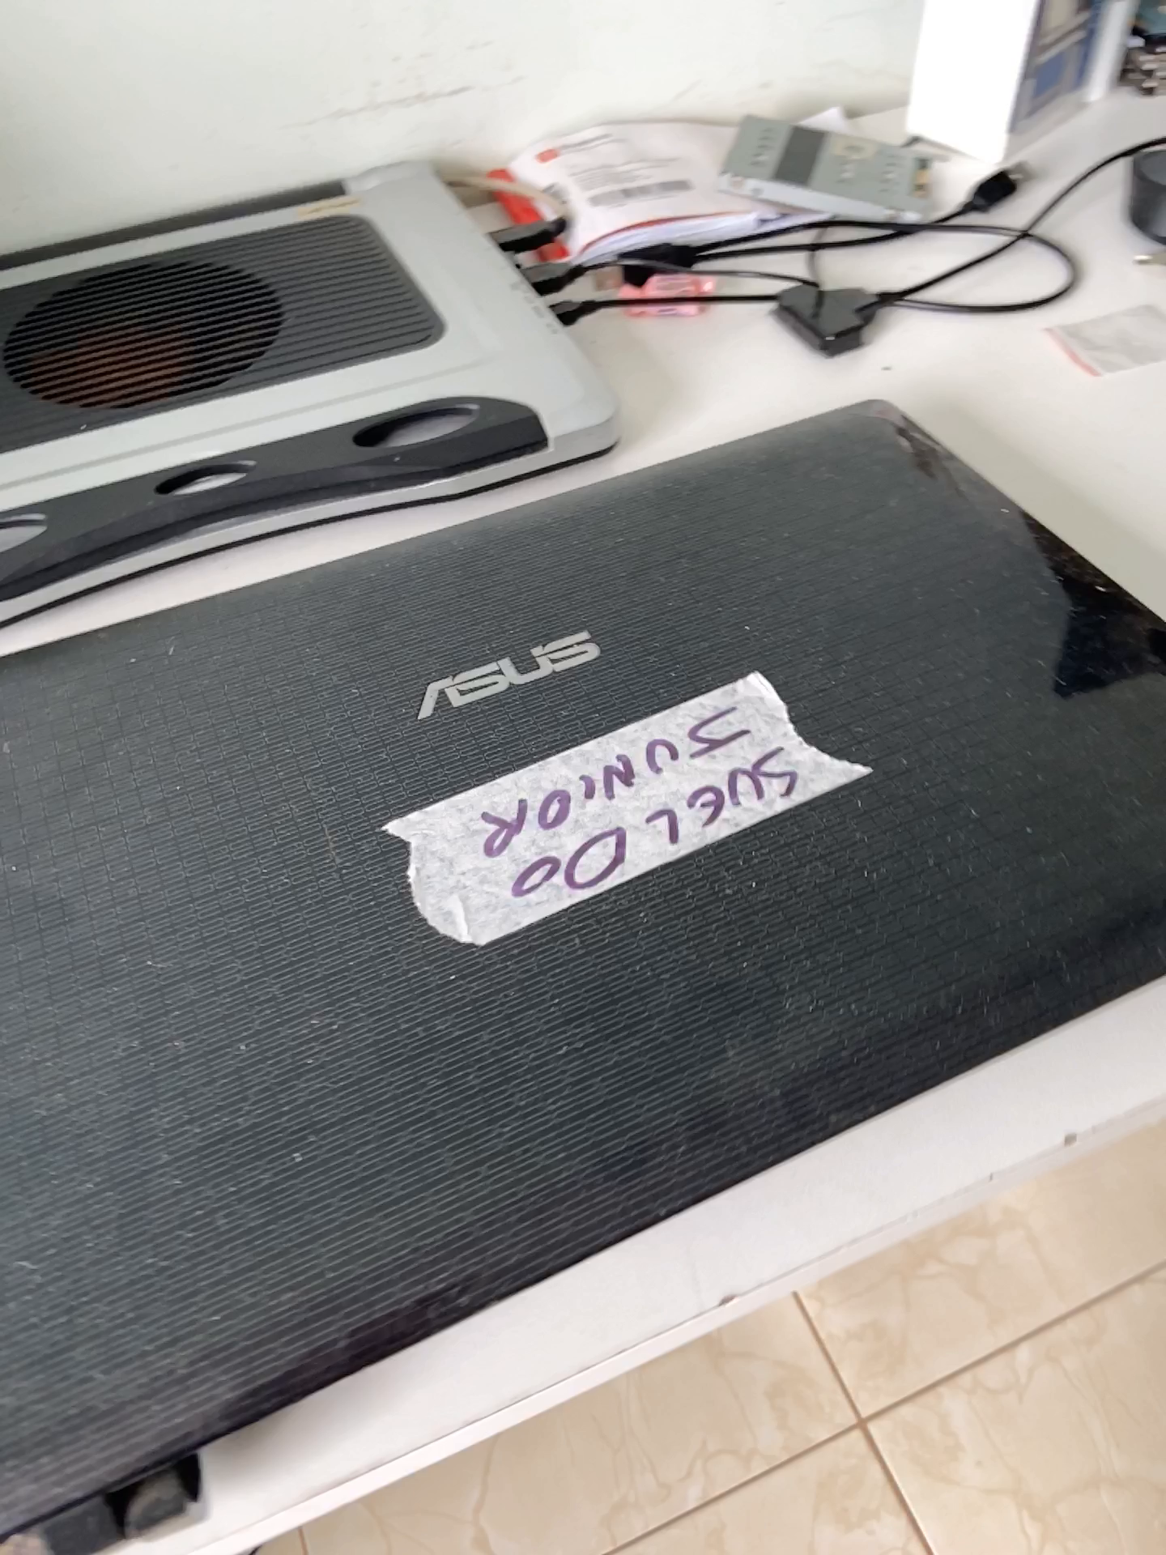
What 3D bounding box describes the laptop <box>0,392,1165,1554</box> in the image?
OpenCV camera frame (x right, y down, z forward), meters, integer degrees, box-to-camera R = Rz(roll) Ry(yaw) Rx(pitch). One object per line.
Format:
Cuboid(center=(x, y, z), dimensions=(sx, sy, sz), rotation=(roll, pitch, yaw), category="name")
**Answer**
Cuboid(center=(-0.008, 0.000, 0.326), dimensions=(0.363, 0.001, 0.237), rotation=(-21, 50, -14), category="laptop")
